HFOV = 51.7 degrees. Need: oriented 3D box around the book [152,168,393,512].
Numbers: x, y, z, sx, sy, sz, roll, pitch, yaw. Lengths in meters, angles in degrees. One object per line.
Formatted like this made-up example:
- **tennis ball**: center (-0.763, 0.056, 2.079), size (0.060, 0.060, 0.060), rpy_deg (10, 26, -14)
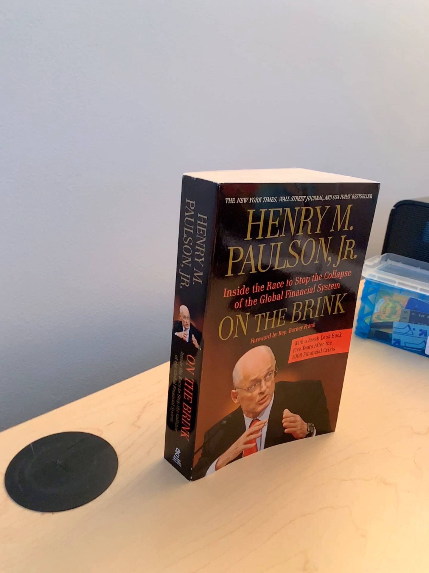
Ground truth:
- **book**: center (0.044, 0.026, 0.360), size (0.167, 0.228, 0.082), rpy_deg (-13, 25, -40)
